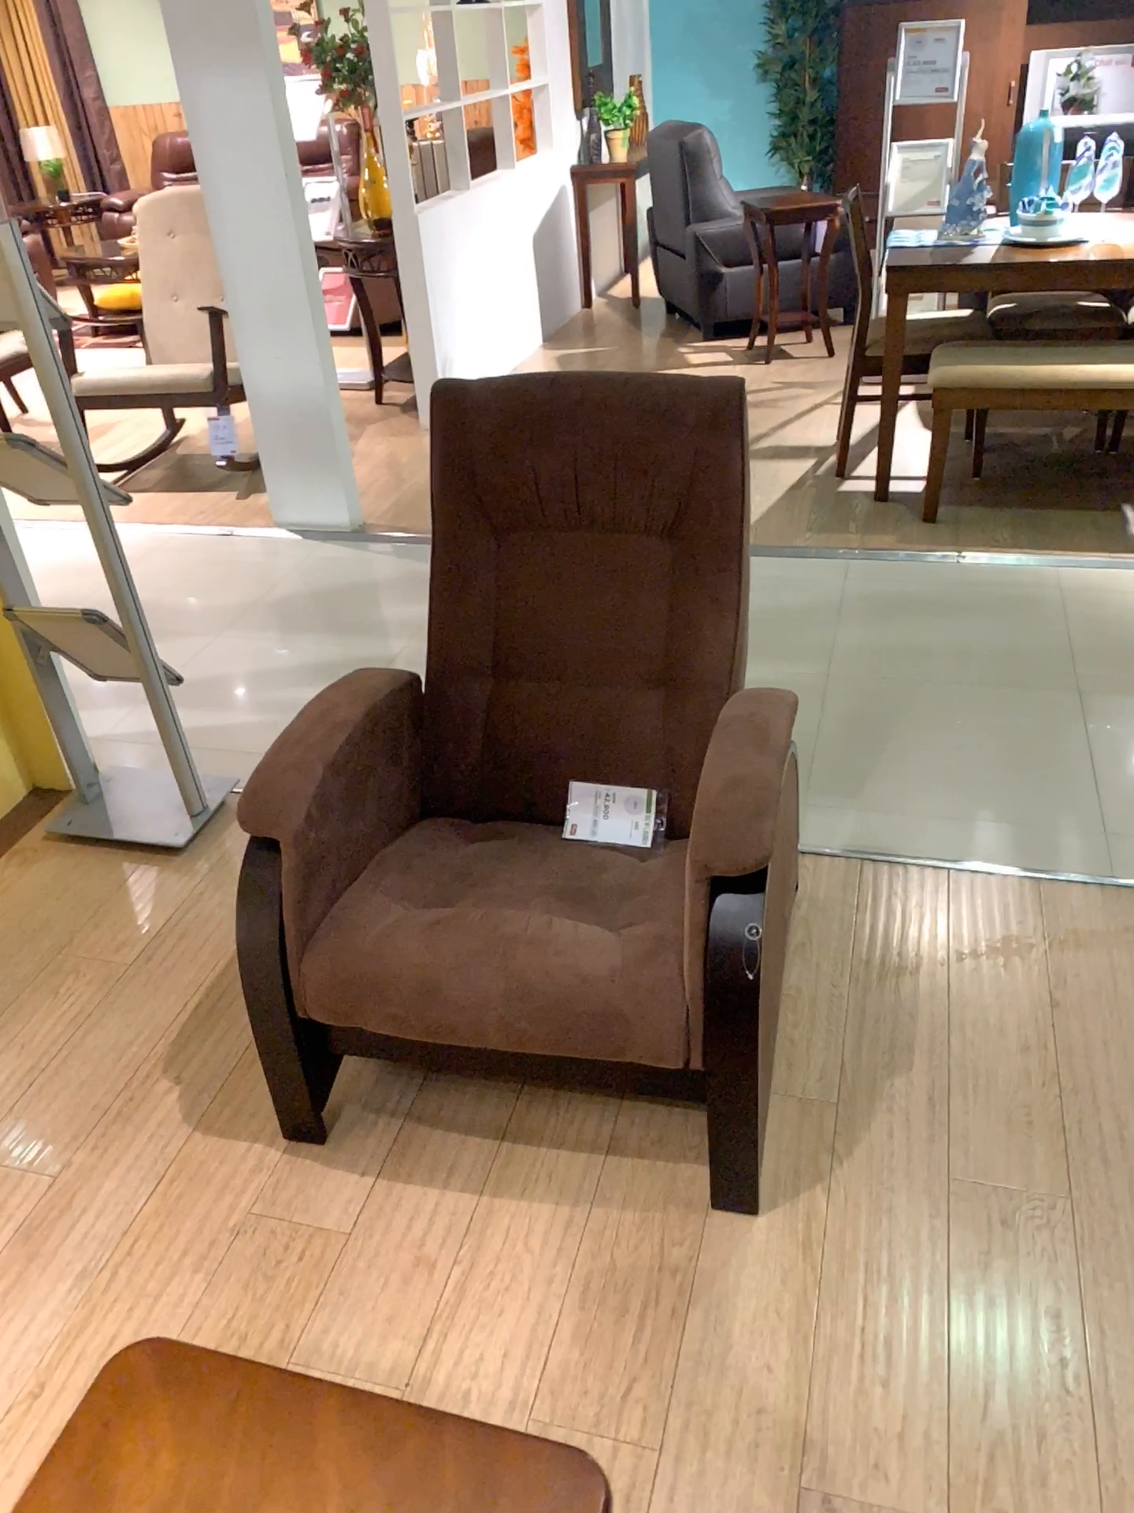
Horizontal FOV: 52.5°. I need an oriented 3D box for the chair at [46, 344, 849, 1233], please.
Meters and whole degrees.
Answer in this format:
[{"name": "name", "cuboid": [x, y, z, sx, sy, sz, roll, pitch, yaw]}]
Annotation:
[{"name": "chair", "cuboid": [-0.017, -0.045, 1.776, 0.801, 0.886, 1.004, 4, 33, 14]}]
